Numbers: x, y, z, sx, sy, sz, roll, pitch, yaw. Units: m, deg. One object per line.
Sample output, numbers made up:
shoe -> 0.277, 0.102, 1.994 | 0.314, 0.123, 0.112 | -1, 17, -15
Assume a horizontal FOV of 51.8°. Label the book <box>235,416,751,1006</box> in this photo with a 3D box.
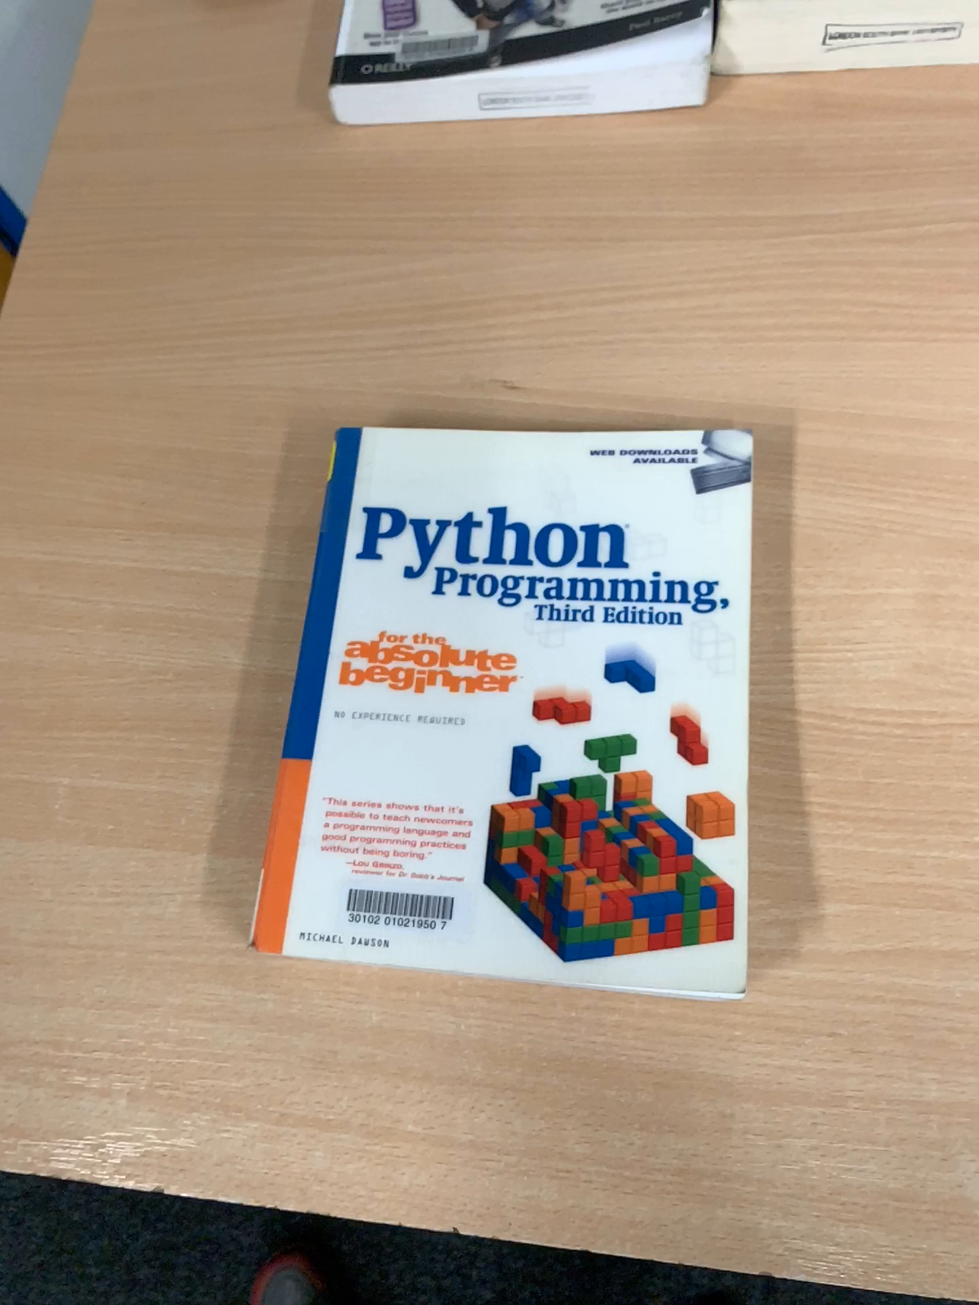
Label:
book -> 0.009, 0.013, 0.396 | 0.174, 0.039, 0.219 | 3, 71, 10
